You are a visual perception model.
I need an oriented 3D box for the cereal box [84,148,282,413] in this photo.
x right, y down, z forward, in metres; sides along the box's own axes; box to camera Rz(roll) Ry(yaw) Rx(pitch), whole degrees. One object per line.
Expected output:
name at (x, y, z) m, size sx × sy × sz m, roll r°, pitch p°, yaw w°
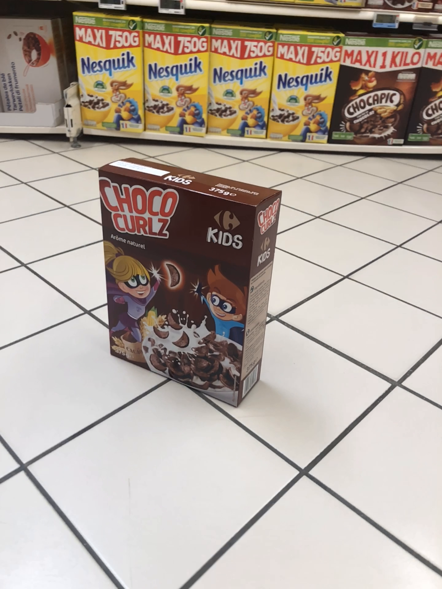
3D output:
cereal box at (-0.049, -0.017, 0.569) m, size 0.200 × 0.258 × 0.070 m, roll 18°, pitch 33°, yaw 24°
